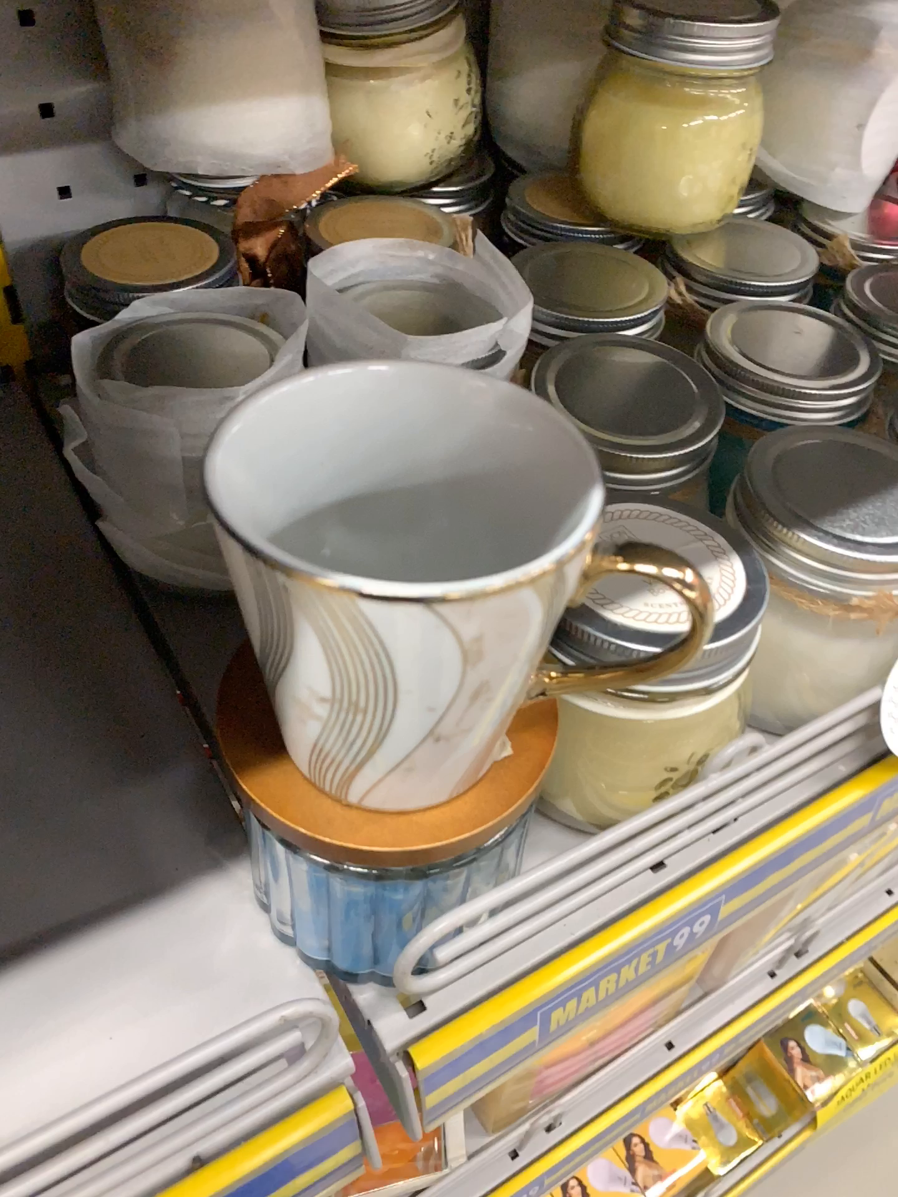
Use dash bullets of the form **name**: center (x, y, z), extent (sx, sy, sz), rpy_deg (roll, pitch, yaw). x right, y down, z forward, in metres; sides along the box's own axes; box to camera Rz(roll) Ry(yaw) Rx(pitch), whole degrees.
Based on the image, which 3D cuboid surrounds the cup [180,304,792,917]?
- **cup**: center (0.009, 0.002, 0.185), extent (0.090, 0.080, 0.070), rpy_deg (12, 46, 7)
